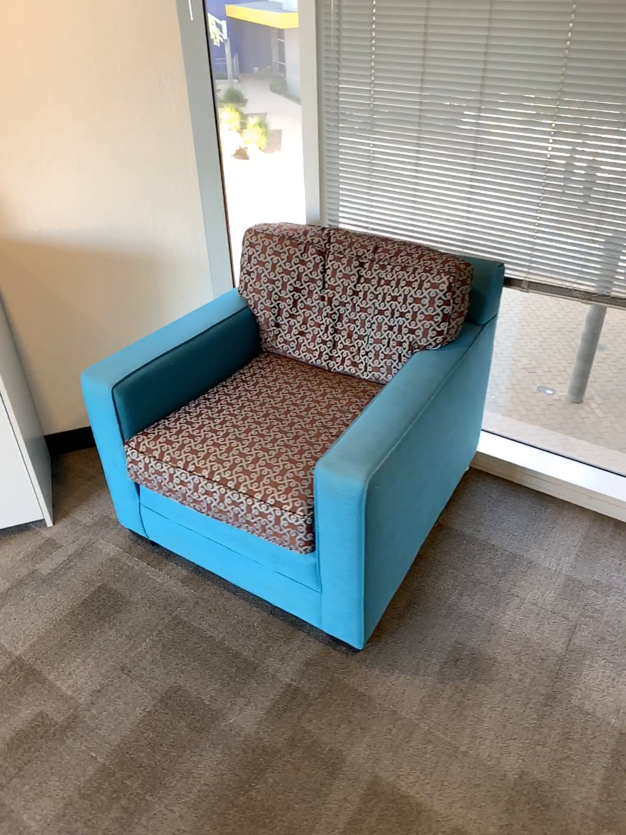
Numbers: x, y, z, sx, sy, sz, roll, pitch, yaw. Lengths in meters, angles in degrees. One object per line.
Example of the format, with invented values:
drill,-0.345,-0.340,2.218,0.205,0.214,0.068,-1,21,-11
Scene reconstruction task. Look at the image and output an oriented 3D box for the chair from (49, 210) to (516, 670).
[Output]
chair,-0.035,-0.036,1.977,0.913,0.825,0.923,19,40,28
